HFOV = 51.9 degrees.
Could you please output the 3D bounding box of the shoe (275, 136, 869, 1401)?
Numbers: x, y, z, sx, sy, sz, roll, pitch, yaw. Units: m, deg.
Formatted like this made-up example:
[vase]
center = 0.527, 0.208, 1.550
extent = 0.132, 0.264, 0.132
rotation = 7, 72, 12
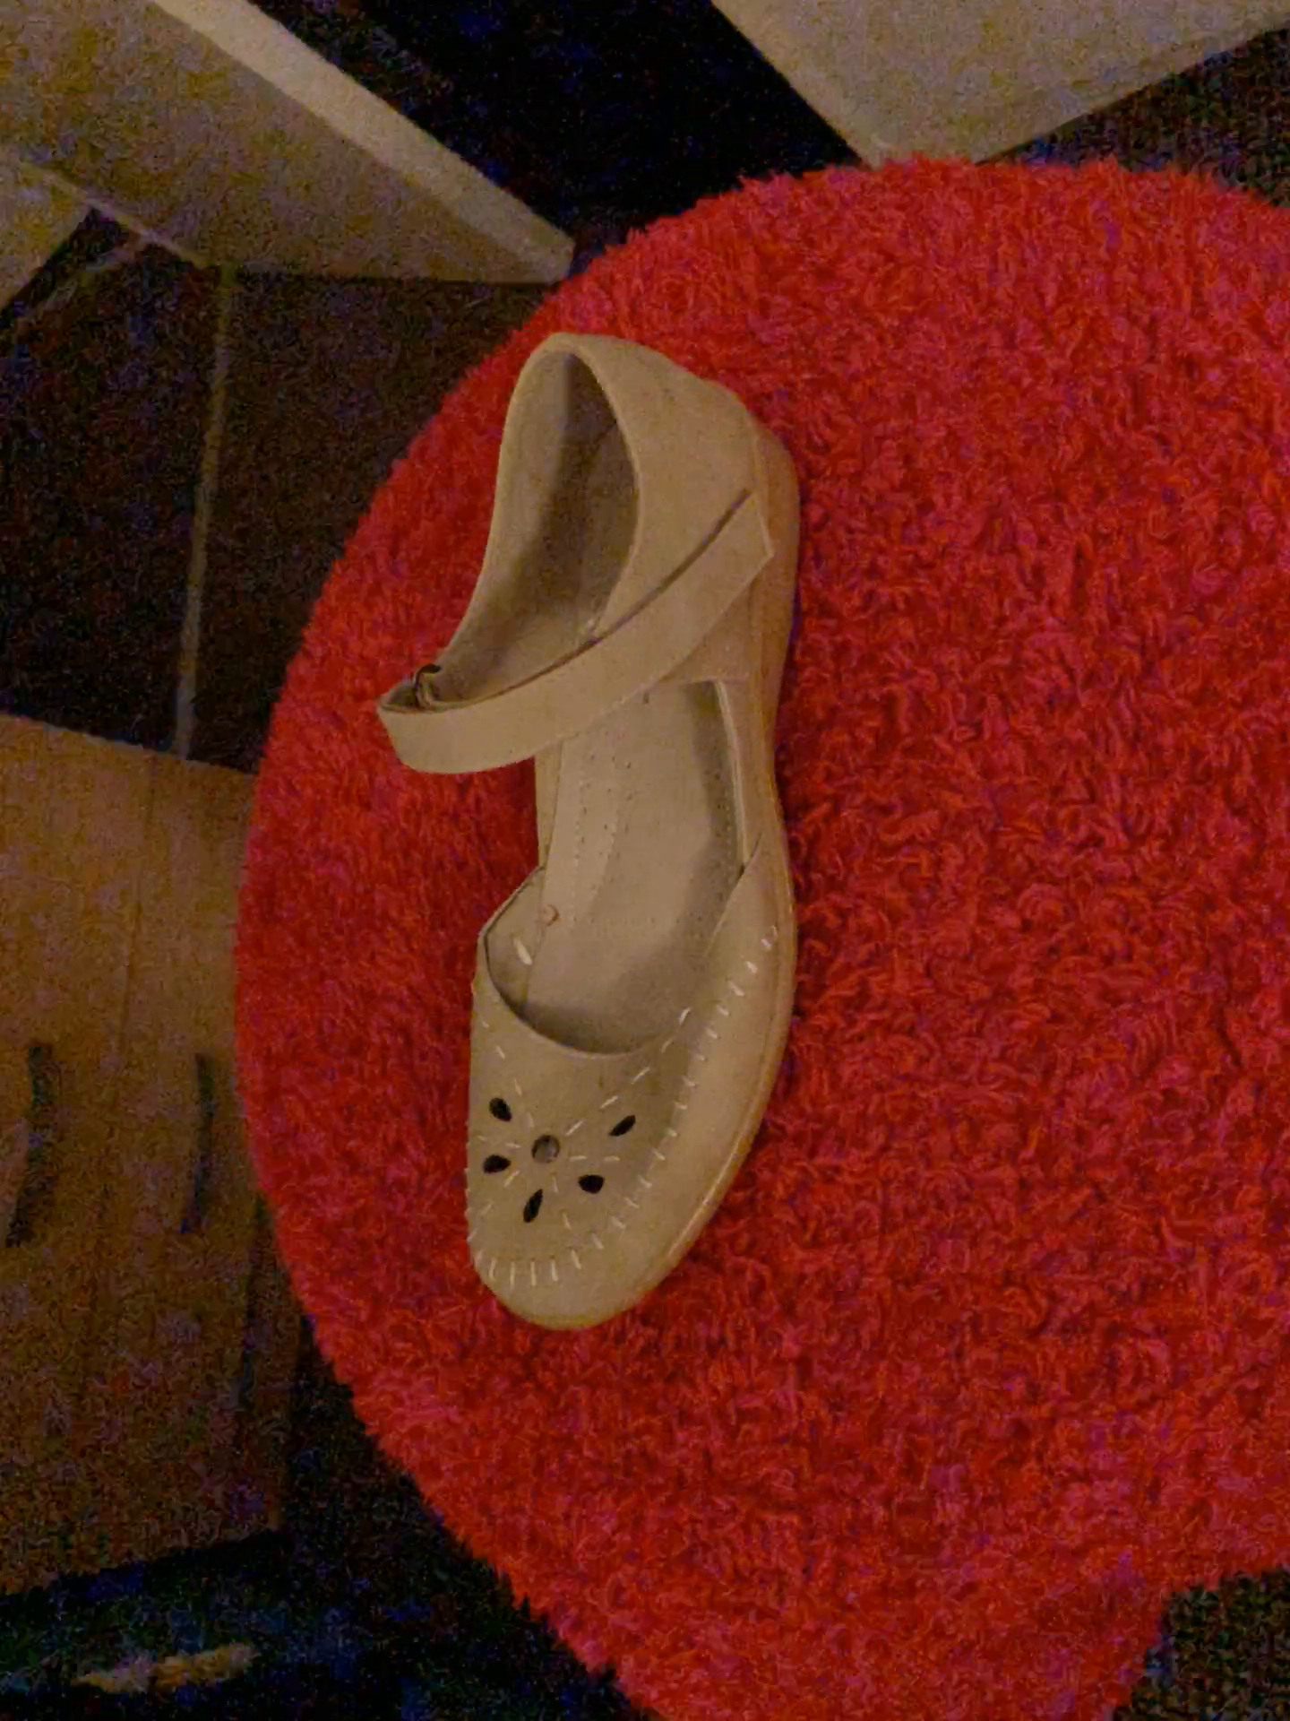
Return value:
[shoe]
center = -0.017, -0.025, 0.374
extent = 0.096, 0.079, 0.306
rotation = 2, 80, 42
